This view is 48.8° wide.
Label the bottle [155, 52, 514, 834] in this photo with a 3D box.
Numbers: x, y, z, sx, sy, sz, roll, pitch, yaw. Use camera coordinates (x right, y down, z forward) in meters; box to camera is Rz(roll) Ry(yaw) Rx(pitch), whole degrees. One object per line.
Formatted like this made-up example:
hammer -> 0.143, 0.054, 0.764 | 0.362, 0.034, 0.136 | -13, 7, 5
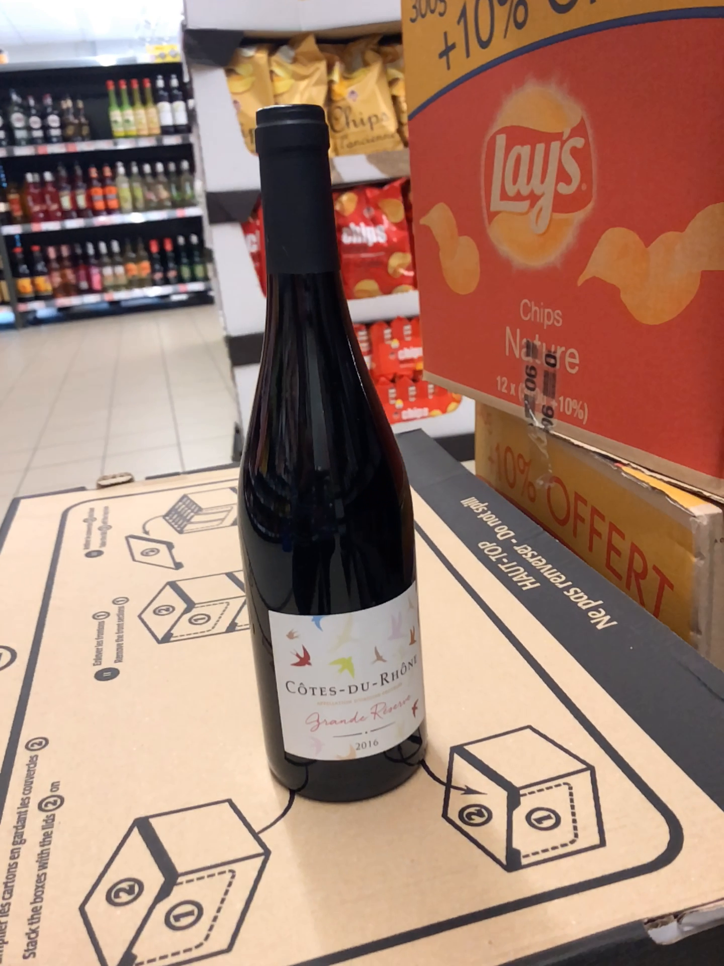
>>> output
bottle -> -0.009, -0.013, 0.345 | 0.100, 0.289, 0.090 | -11, 17, -16
